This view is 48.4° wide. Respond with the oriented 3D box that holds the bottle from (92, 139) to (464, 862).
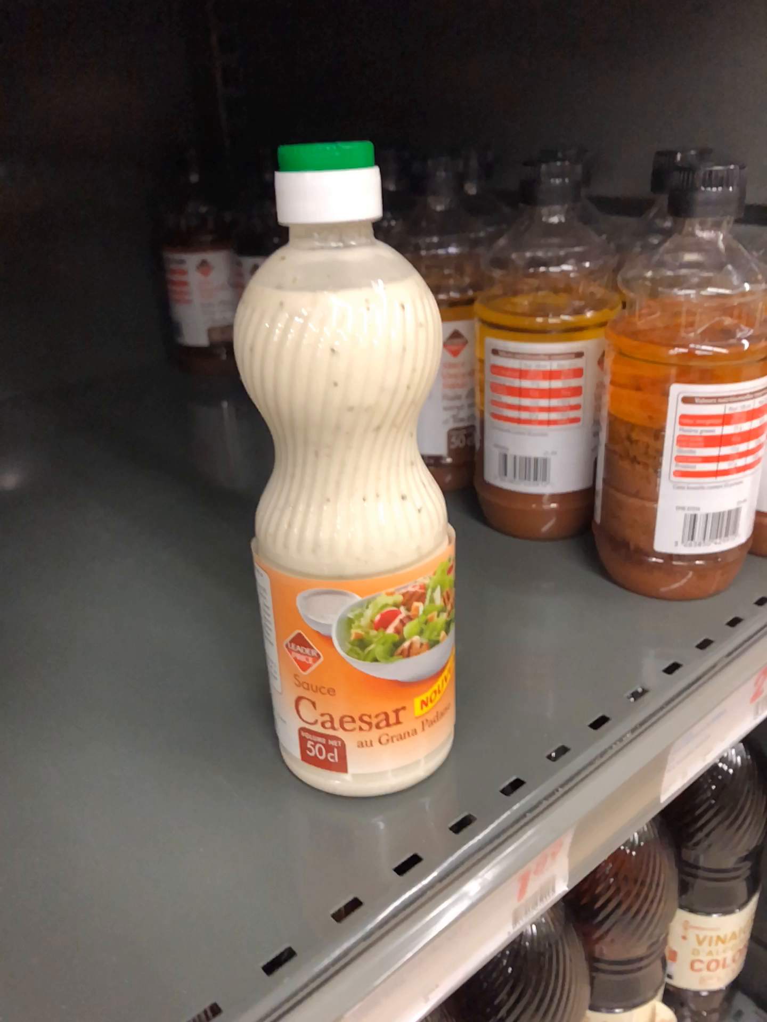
[{"bbox_3d":[-0.028,-0.005,0.303,0.080,0.229,0.080,-2,24,1],"label":"bottle"}]
